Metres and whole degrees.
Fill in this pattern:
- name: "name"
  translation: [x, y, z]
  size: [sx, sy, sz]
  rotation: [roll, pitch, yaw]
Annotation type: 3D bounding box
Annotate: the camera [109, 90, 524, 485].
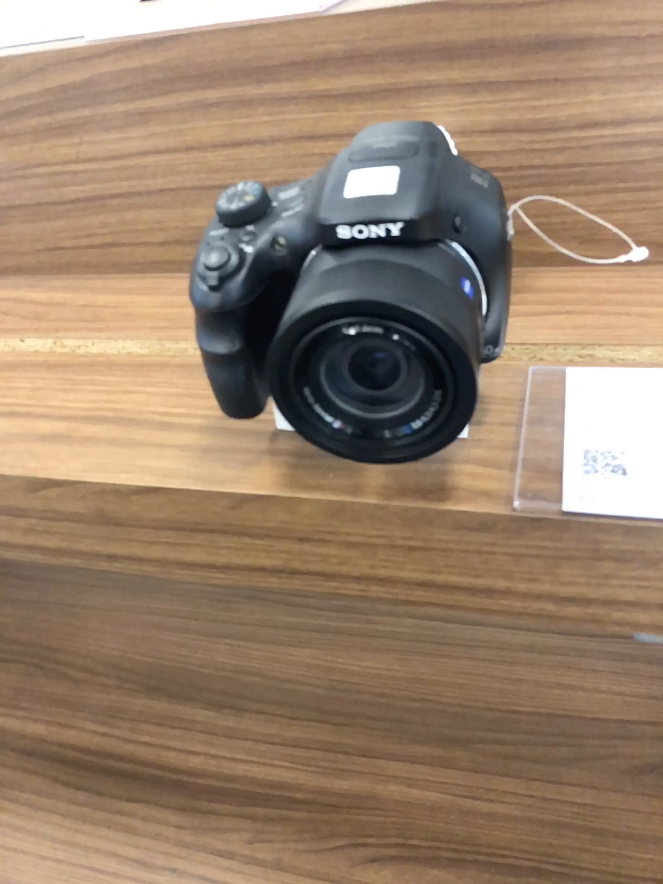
- name: "camera"
  translation: [0.011, -0.069, 0.309]
  size: [0.130, 0.100, 0.141]
  rotation: [2, 41, 16]
